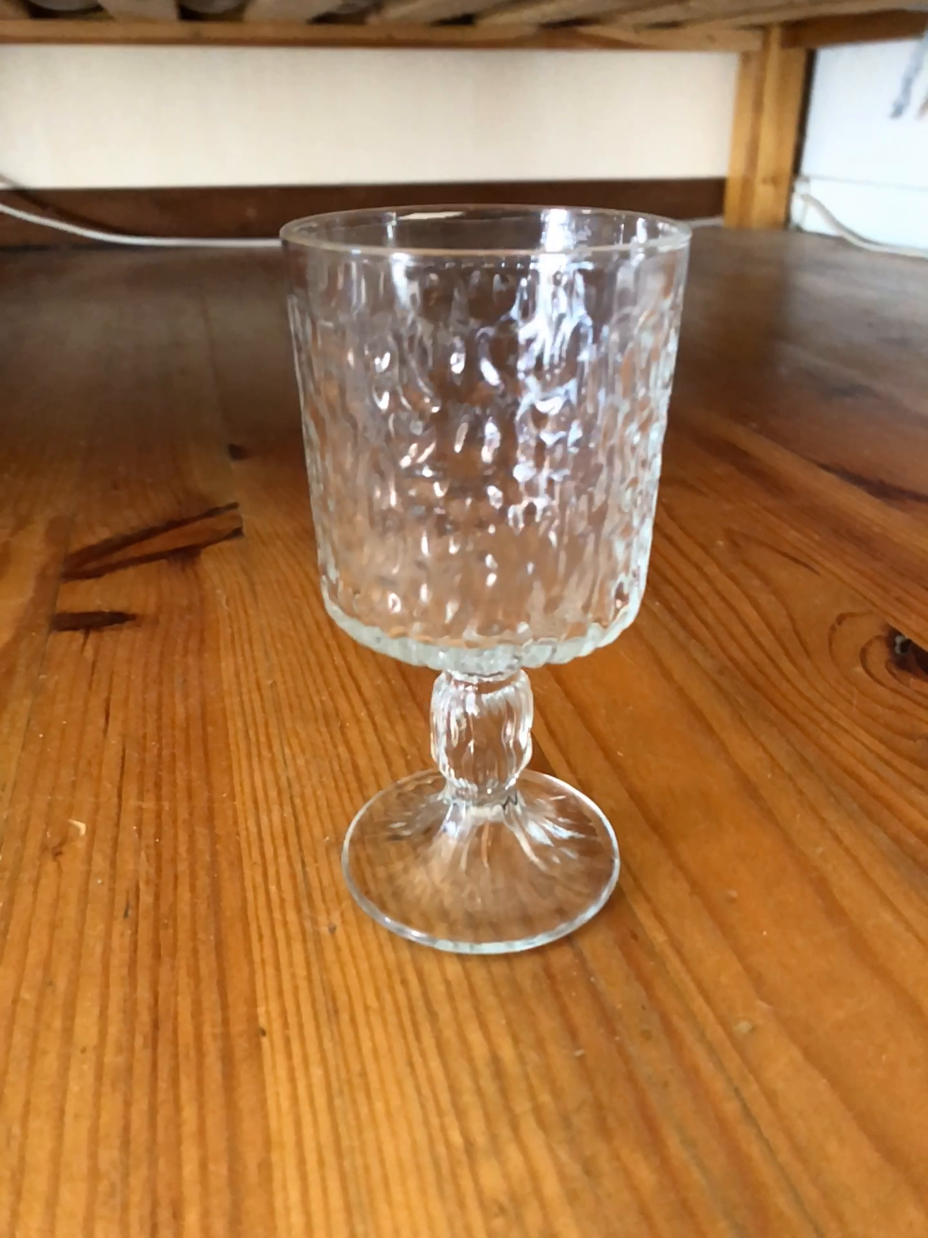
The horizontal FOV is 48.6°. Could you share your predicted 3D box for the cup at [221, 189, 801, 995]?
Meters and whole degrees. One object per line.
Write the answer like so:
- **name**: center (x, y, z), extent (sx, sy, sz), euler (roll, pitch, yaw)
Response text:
- **cup**: center (0.001, -0.012, 0.208), extent (0.082, 0.134, 0.081), euler (0, 26, 0)
